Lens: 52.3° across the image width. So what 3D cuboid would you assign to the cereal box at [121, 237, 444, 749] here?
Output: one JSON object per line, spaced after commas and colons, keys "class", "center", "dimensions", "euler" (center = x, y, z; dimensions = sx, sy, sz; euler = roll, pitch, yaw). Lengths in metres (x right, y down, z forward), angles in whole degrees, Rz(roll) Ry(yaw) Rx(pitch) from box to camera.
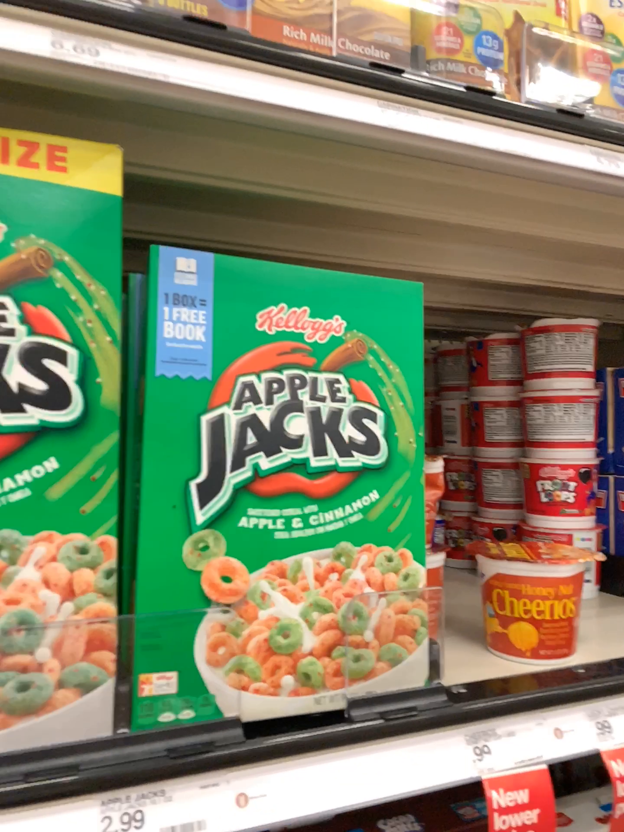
{"class": "cereal box", "center": [-0.017, 0.043, 0.429], "dimensions": [0.200, 0.291, 0.060], "euler": [3, -8, -23]}
